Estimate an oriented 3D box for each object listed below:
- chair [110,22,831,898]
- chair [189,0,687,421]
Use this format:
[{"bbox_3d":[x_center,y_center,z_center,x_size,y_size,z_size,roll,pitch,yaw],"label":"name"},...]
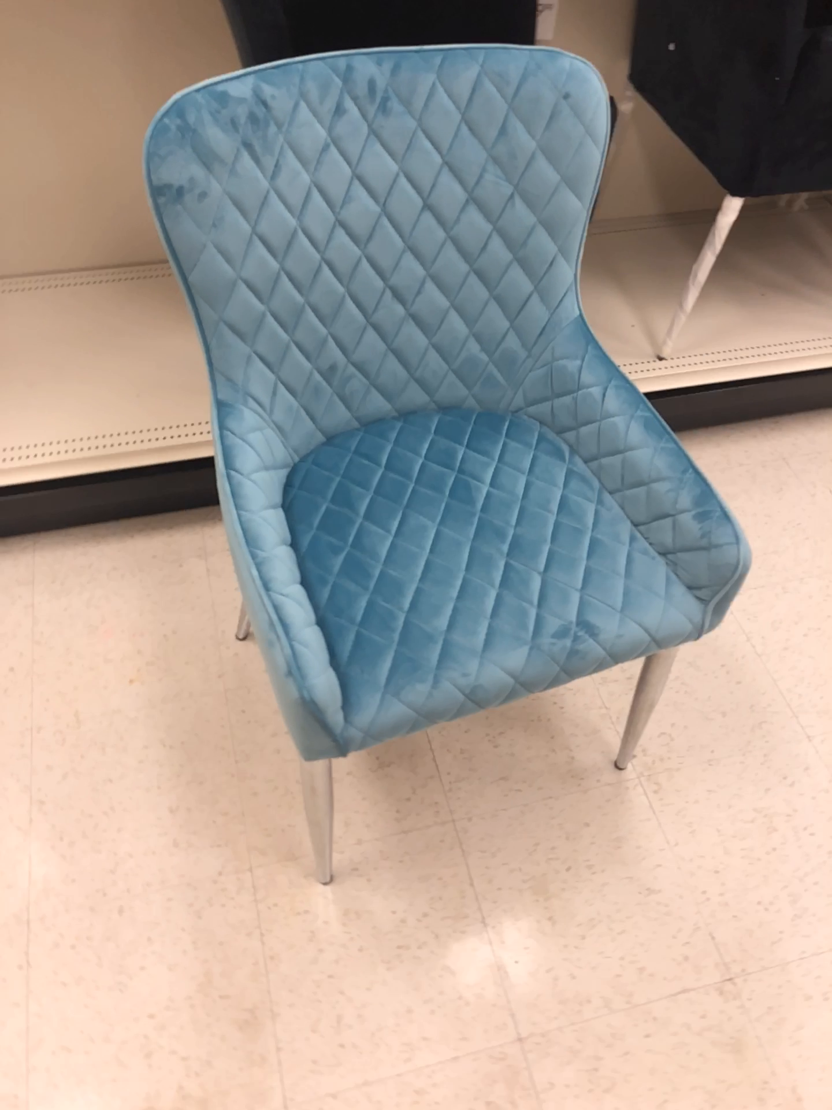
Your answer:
[{"bbox_3d":[0.025,-0.086,1.191,0.560,0.871,0.585,-15,51,-15],"label":"chair"},{"bbox_3d":[-0.022,-0.727,1.519,0.580,0.778,0.562,-5,50,-7],"label":"chair"}]
